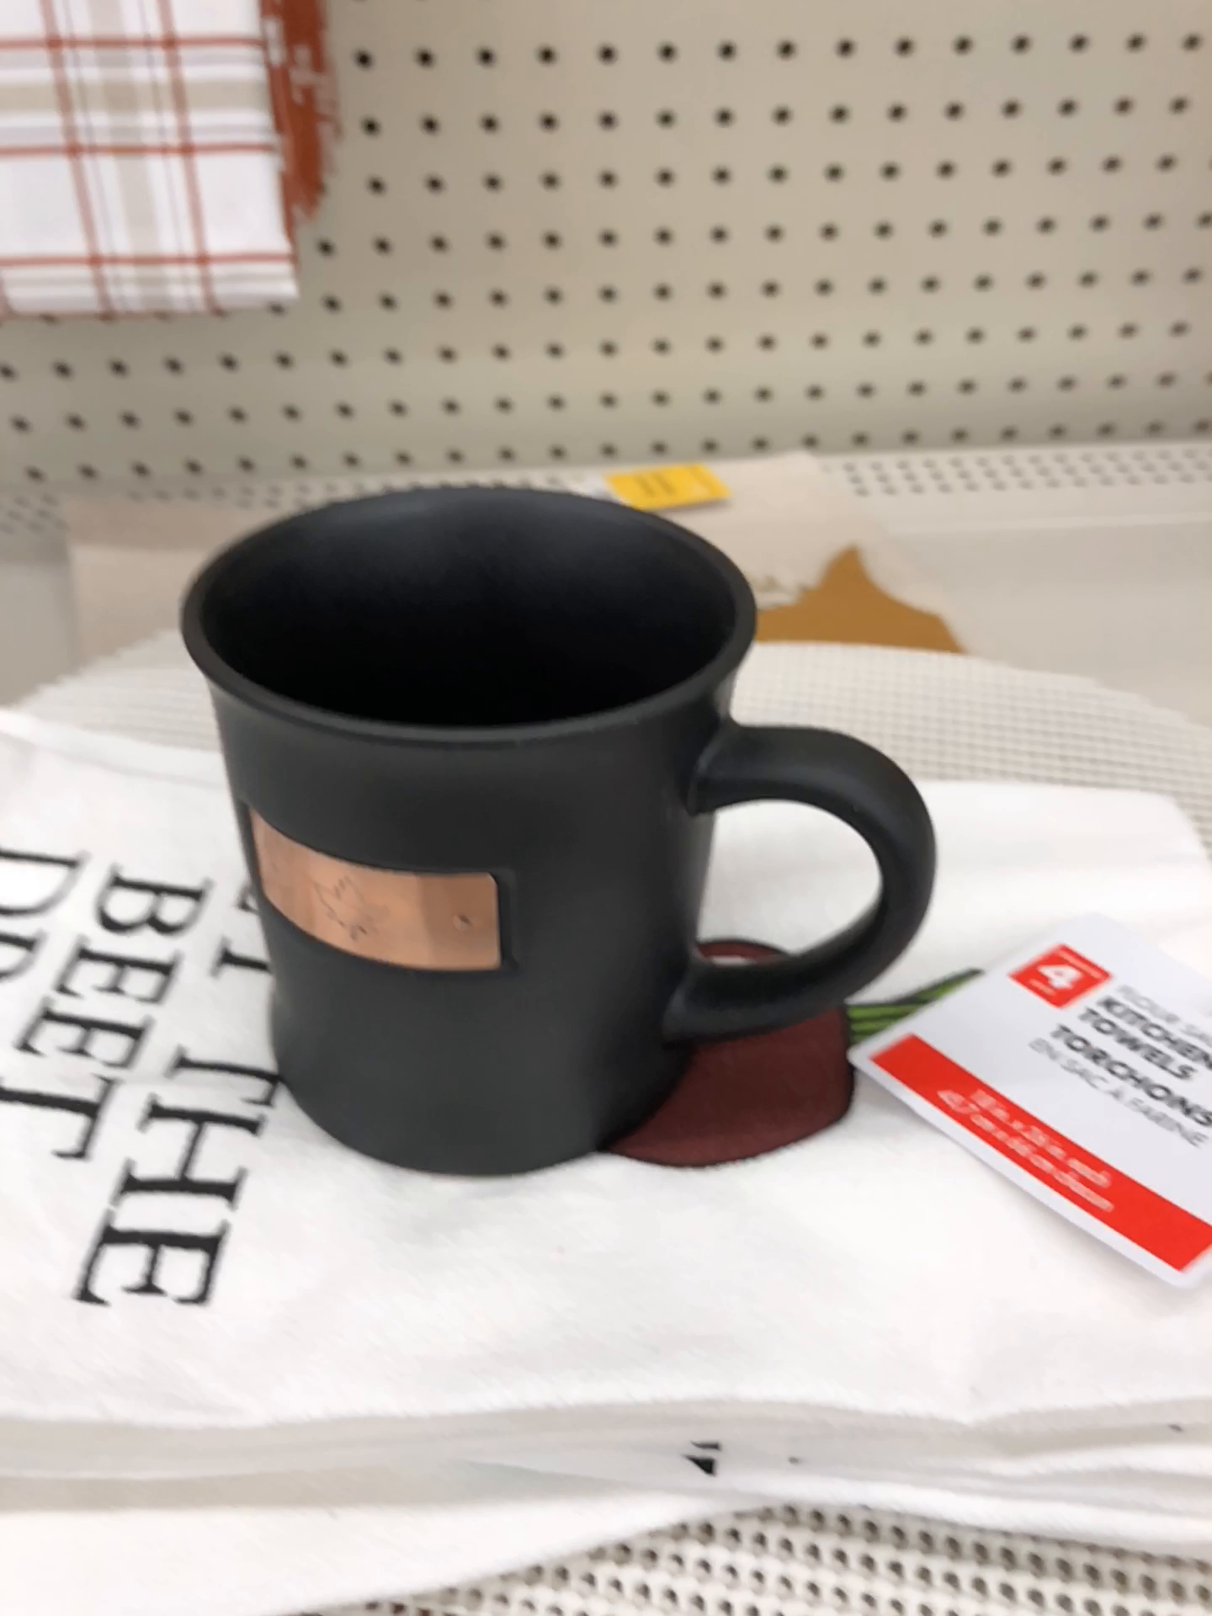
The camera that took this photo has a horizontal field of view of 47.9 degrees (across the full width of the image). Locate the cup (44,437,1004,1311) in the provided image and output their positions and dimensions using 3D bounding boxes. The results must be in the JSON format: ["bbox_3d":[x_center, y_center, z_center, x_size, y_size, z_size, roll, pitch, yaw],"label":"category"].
[{"bbox_3d":[-0.006,0.006,0.269,0.140,0.110,0.100,10,39,14],"label":"cup"}]
